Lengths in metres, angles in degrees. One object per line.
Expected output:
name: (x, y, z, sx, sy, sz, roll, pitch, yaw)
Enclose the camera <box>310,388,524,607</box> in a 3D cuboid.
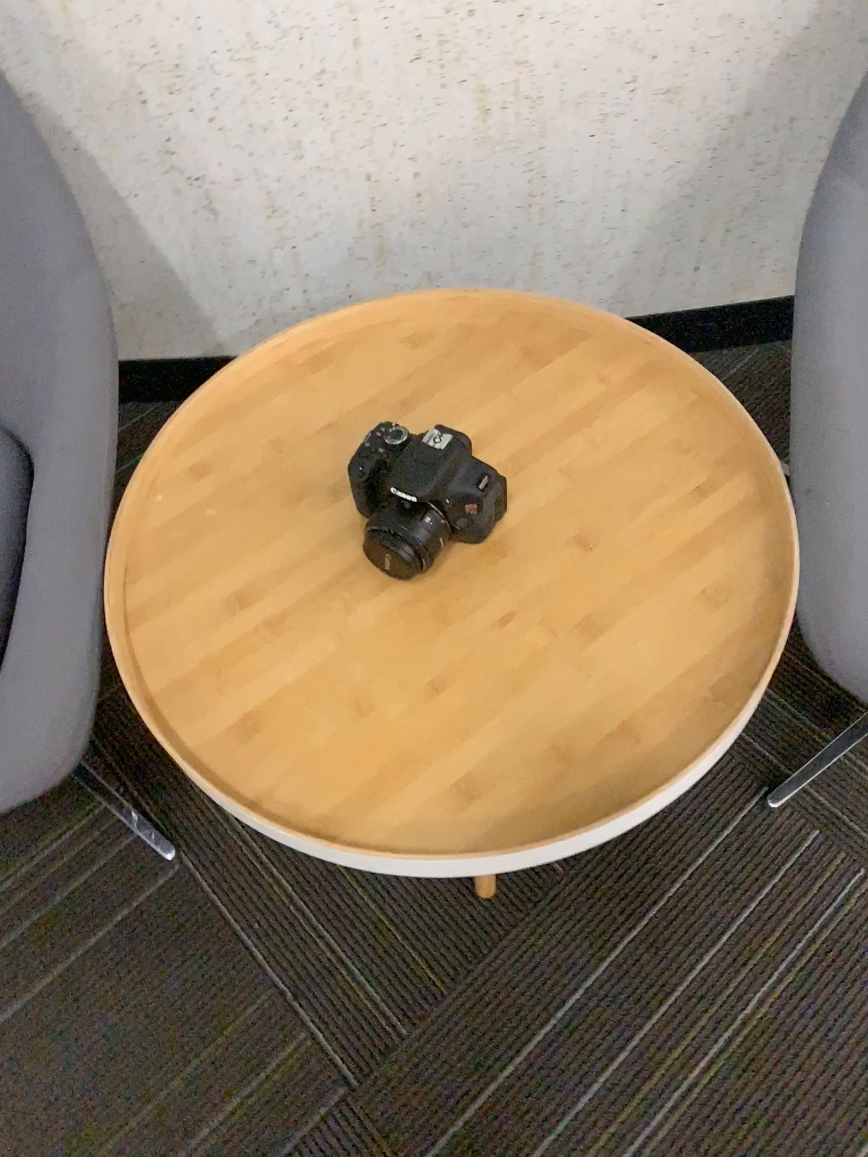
camera: (-0.010, -0.071, 0.767, 0.134, 0.090, 0.119, 25, 65, 18)
